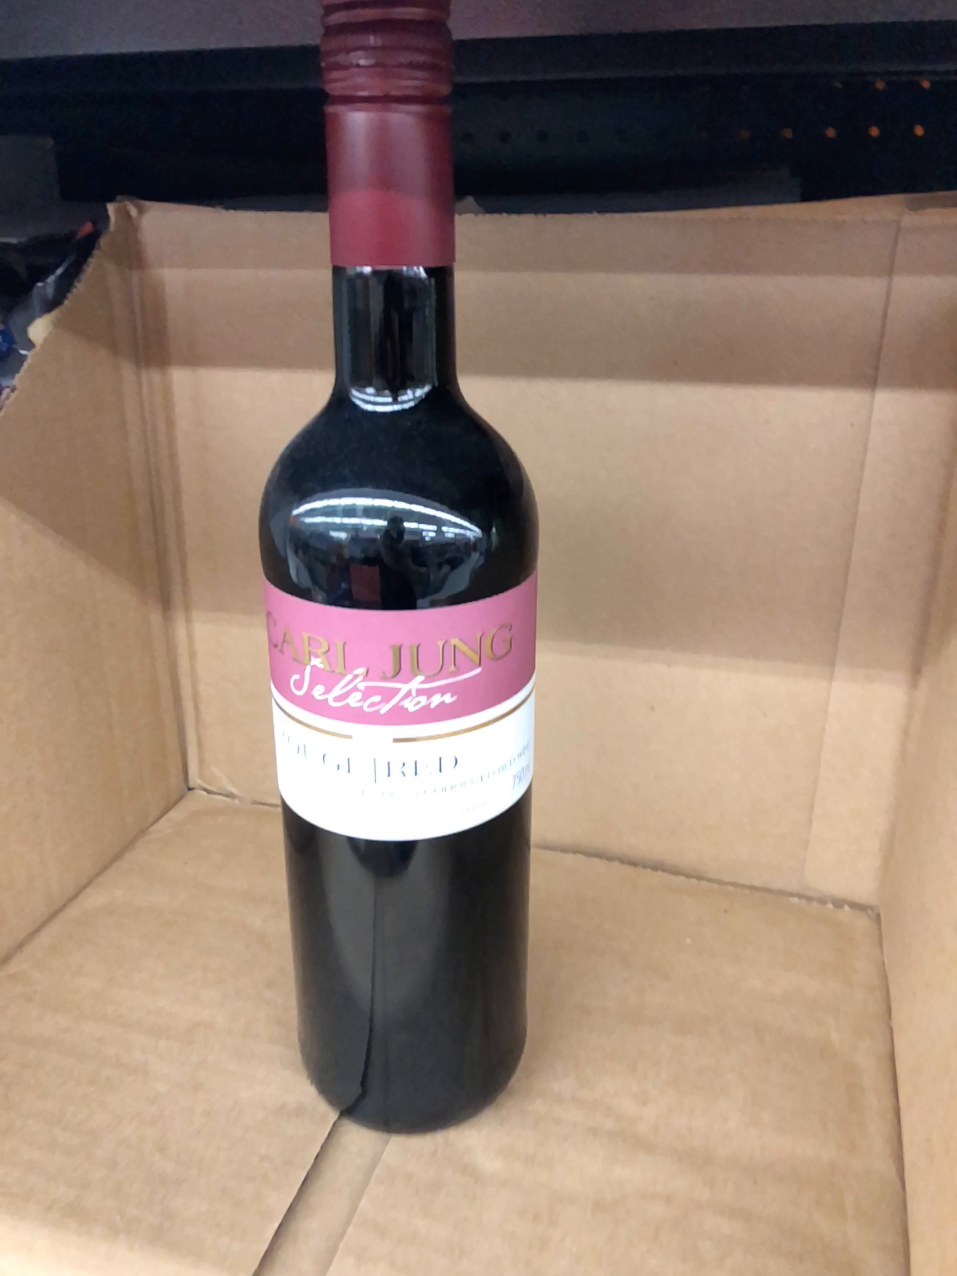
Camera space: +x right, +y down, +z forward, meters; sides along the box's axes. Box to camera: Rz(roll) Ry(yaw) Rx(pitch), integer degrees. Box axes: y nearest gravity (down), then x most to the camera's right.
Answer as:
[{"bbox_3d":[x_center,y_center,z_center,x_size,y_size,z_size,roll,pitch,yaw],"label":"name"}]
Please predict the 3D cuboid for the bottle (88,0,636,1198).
[{"bbox_3d":[-0.019,-0.005,0.288,0.090,0.308,0.081,8,25,20],"label":"bottle"}]
